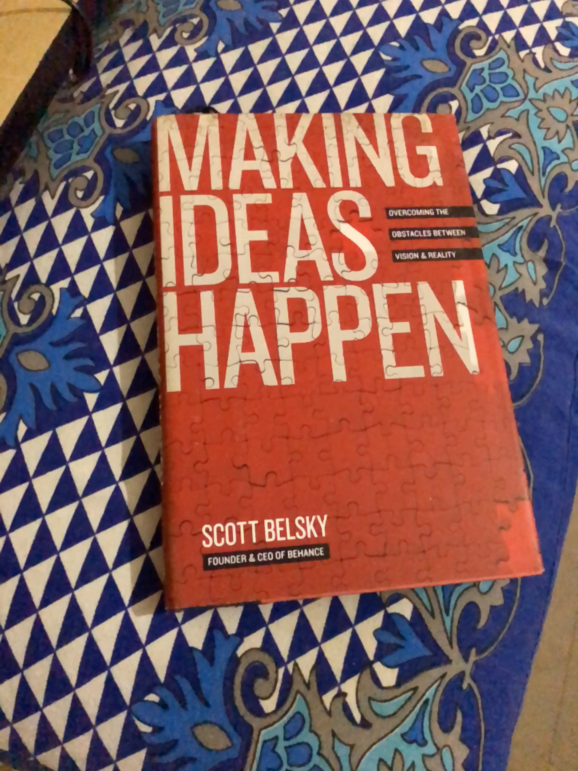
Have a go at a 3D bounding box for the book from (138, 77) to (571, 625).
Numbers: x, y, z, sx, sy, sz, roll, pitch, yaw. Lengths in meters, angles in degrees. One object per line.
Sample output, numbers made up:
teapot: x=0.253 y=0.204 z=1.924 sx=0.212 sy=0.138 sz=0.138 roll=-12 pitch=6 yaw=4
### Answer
book: x=0.016 y=-0.032 z=0.294 sx=0.160 sy=0.030 sz=0.250 roll=-3 pitch=70 yaw=-7
